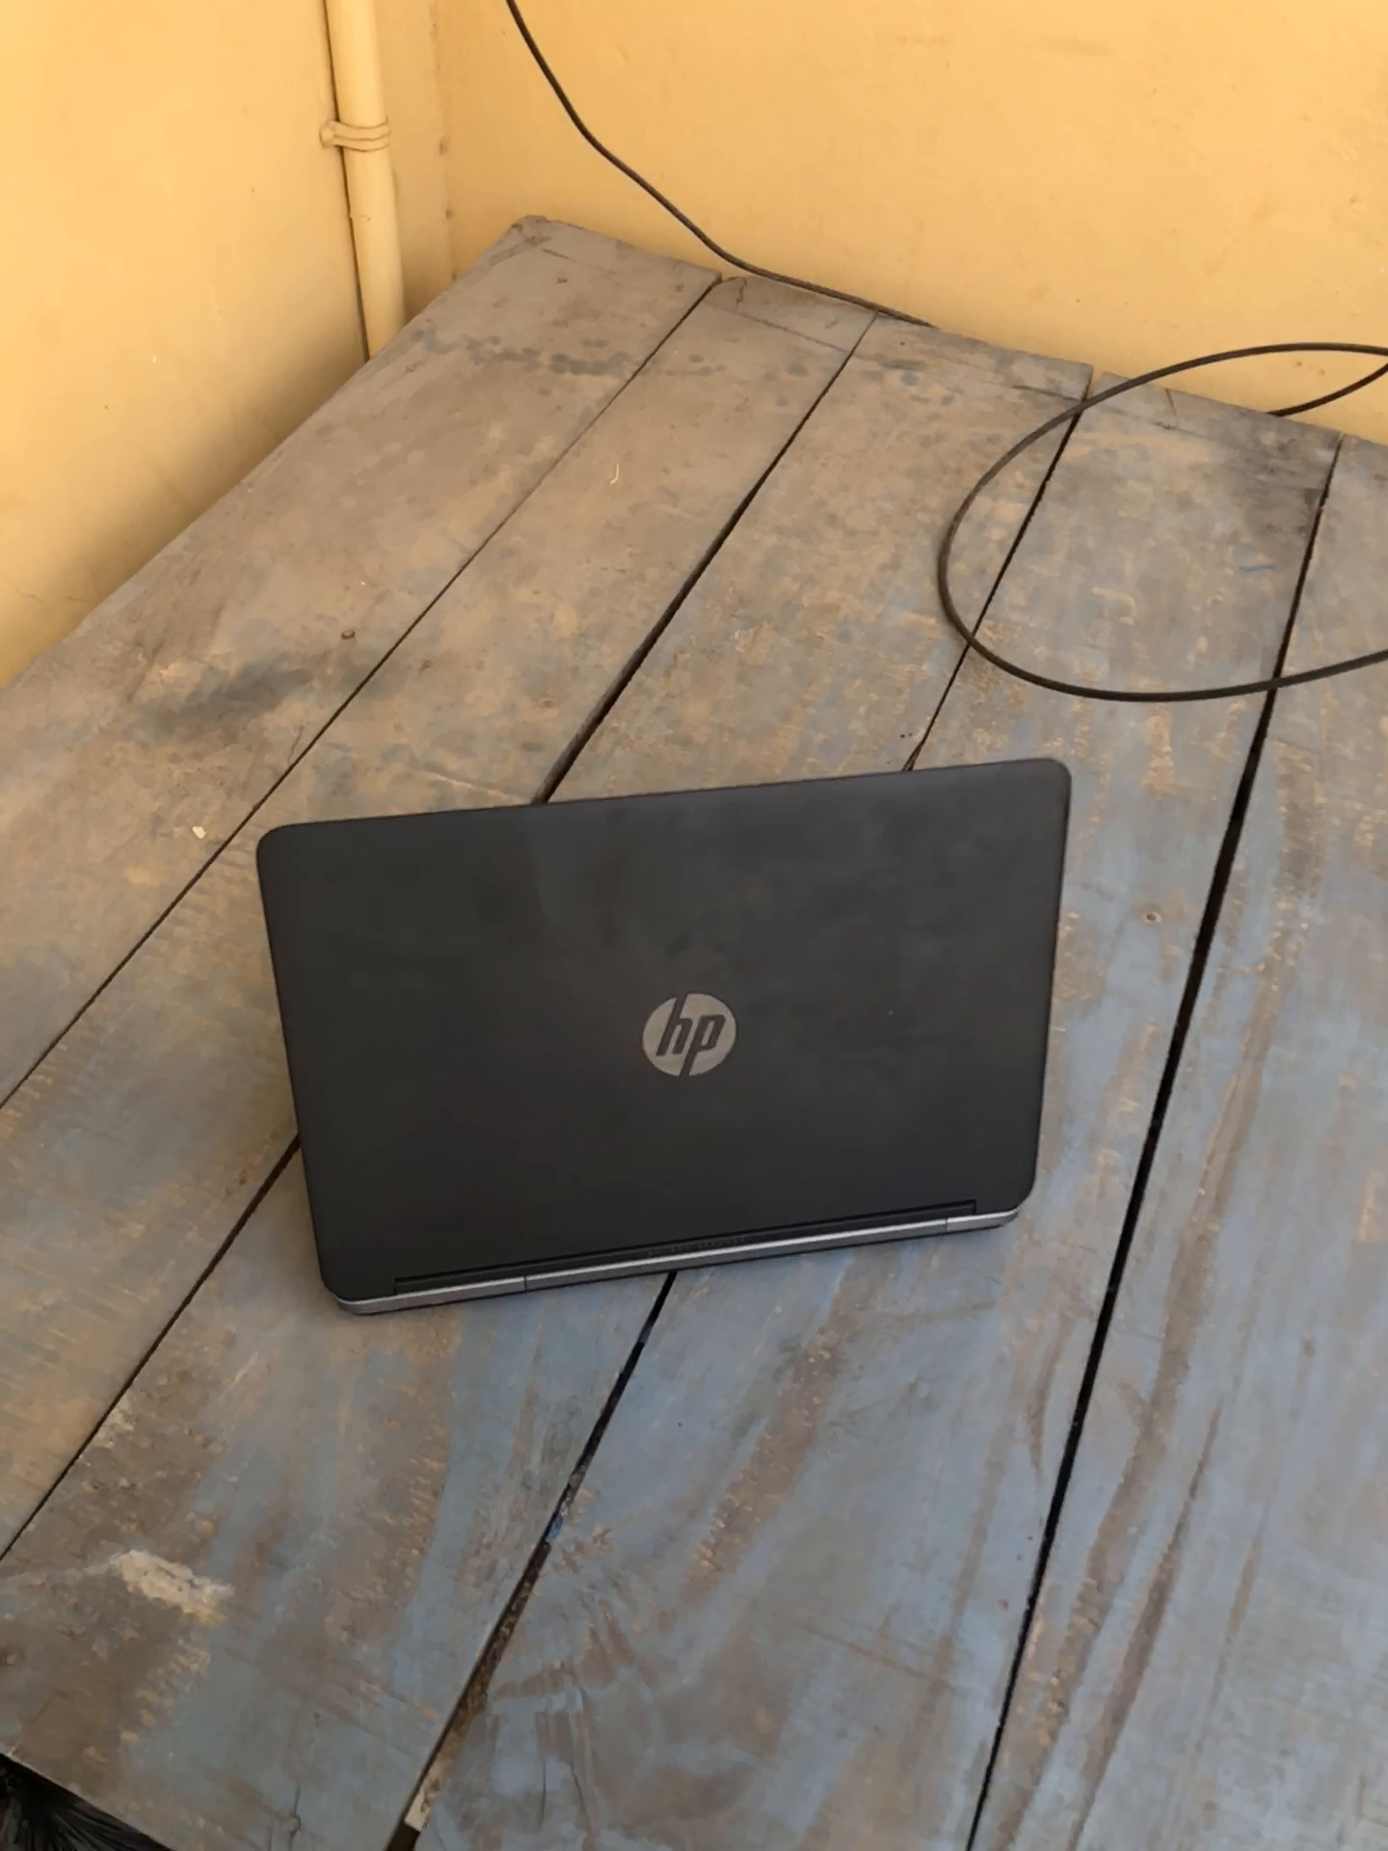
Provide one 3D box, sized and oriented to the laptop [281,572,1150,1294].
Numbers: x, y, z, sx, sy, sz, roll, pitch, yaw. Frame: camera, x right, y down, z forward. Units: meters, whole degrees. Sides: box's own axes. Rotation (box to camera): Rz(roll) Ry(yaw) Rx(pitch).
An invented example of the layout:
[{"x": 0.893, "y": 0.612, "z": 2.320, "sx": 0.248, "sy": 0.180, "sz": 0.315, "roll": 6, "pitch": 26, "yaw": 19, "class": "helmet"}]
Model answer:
[{"x": -0.007, "y": 0.000, "z": 0.682, "sx": 0.316, "sy": 0.196, "sz": 0.211, "roll": -7, "pitch": 50, "yaw": -8, "class": "laptop"}]
